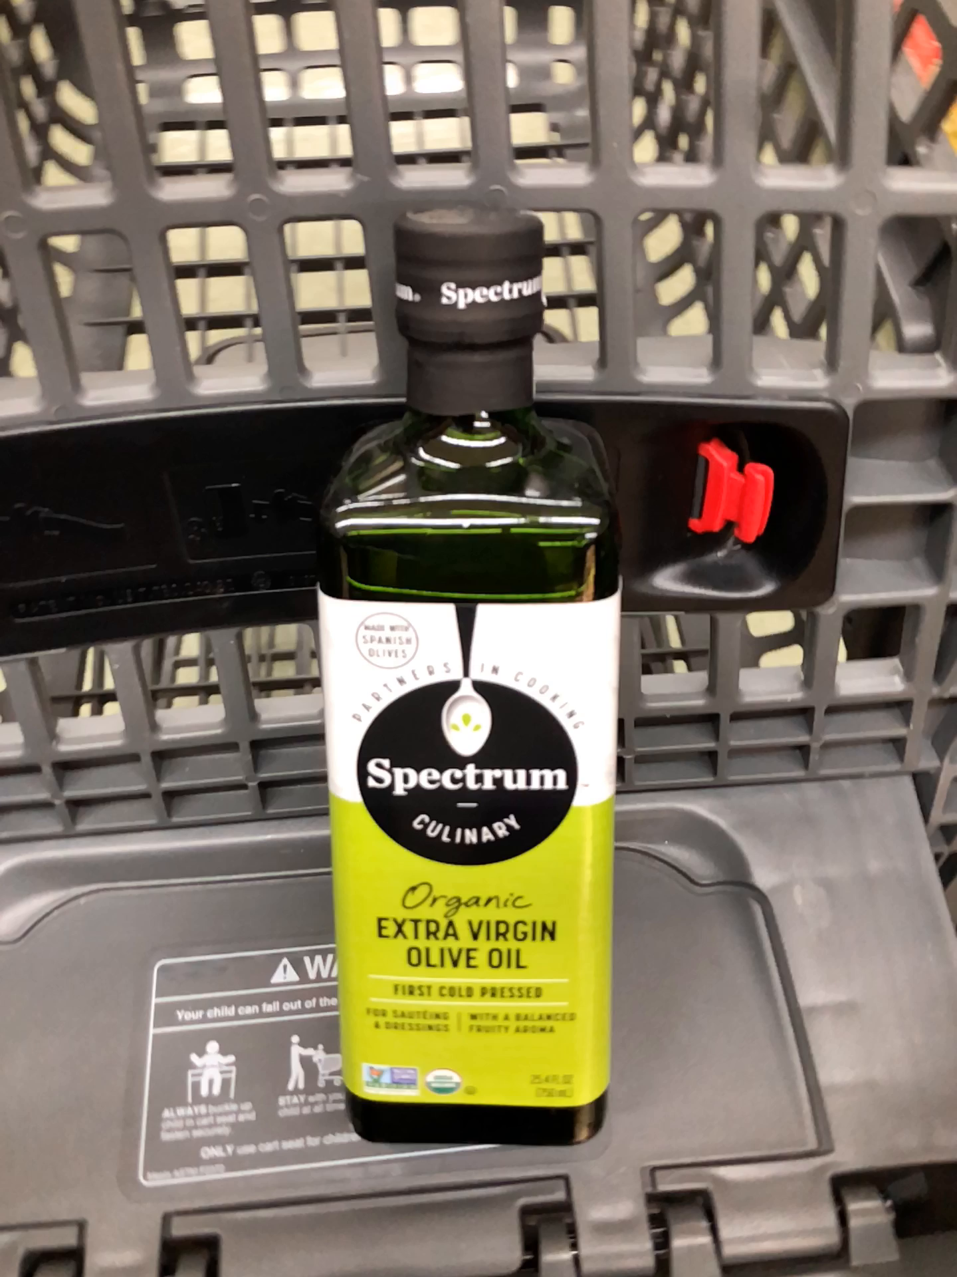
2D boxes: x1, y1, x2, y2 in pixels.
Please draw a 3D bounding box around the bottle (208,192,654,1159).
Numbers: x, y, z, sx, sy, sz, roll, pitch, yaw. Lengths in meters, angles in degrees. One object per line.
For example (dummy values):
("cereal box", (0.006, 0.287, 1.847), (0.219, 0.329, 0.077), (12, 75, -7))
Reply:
("bottle", (-0.007, 0.020, 0.280), (0.080, 0.250, 0.076), (0, 27, 0))
